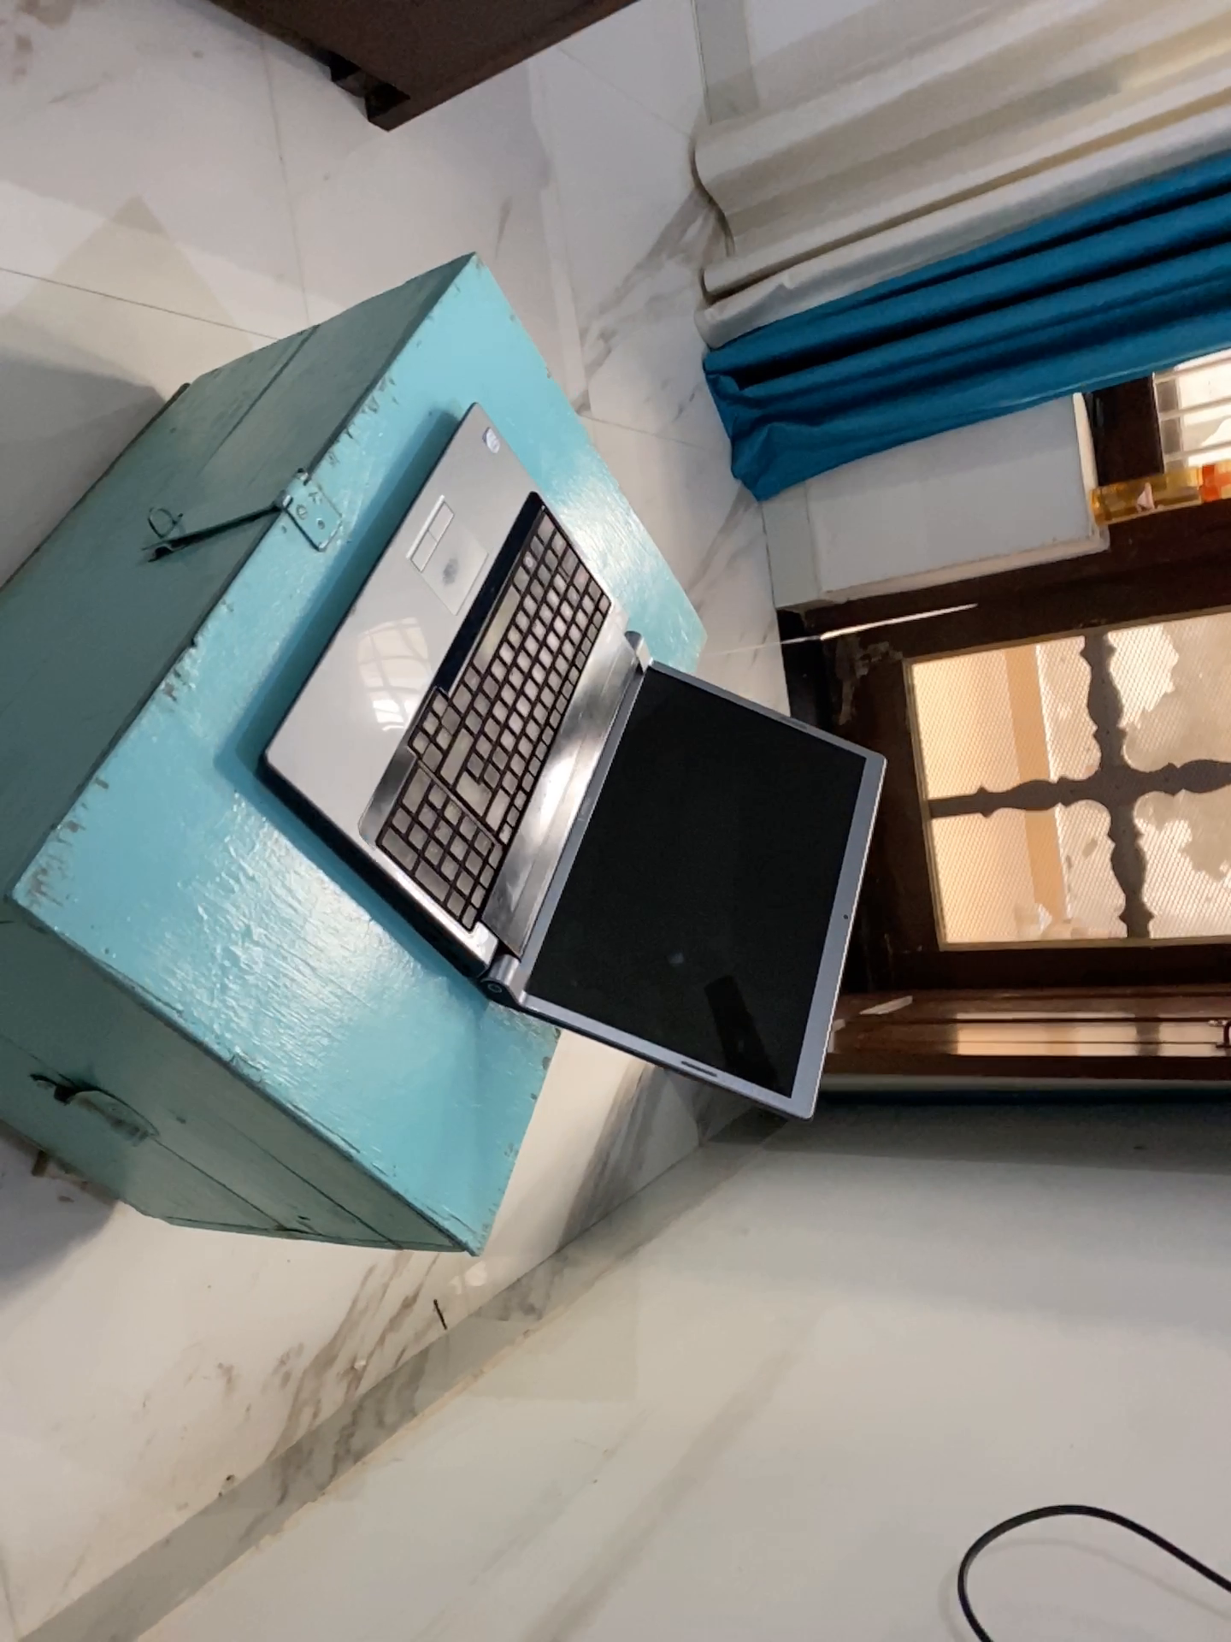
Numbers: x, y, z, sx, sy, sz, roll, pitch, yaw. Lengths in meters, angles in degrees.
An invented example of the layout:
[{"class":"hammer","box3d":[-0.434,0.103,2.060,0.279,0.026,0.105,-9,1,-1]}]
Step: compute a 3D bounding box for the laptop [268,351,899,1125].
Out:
[{"class":"laptop","box3d":[0.027,-0.045,1.013,0.480,0.178,0.390,51,45,-38]}]
